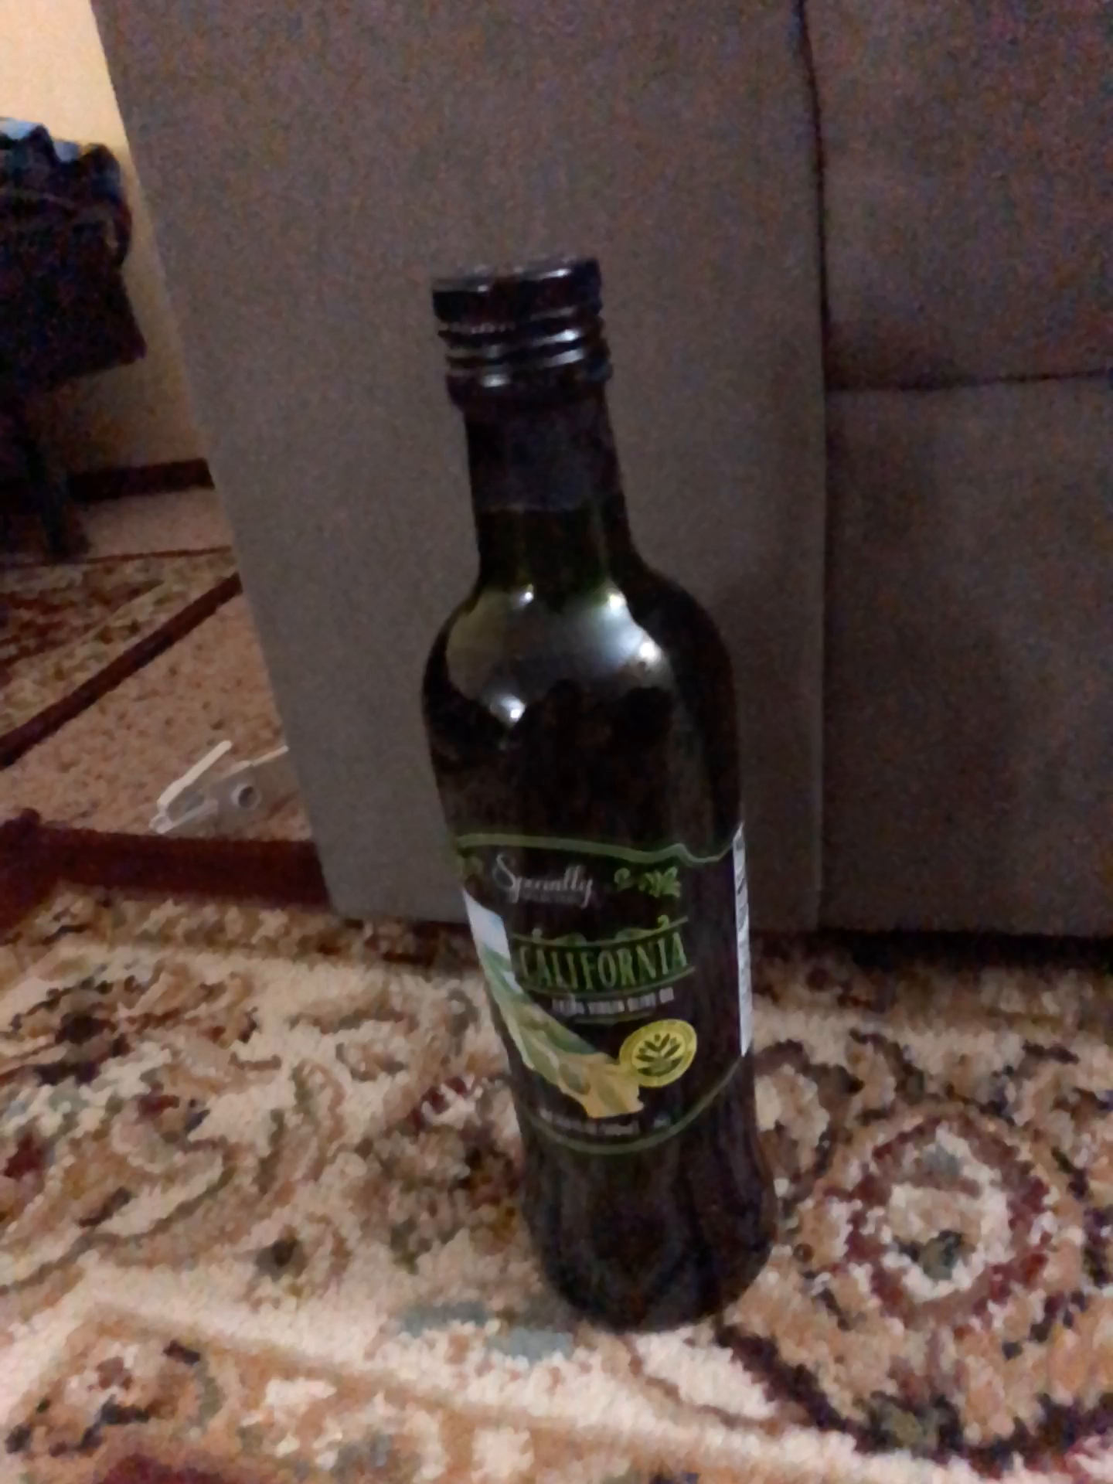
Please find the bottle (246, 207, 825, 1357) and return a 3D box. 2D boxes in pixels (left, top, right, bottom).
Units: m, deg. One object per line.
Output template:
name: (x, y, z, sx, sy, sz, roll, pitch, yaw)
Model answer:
bottle: (0.011, 0.020, 0.295, 0.080, 0.259, 0.070, -1, 25, 19)
